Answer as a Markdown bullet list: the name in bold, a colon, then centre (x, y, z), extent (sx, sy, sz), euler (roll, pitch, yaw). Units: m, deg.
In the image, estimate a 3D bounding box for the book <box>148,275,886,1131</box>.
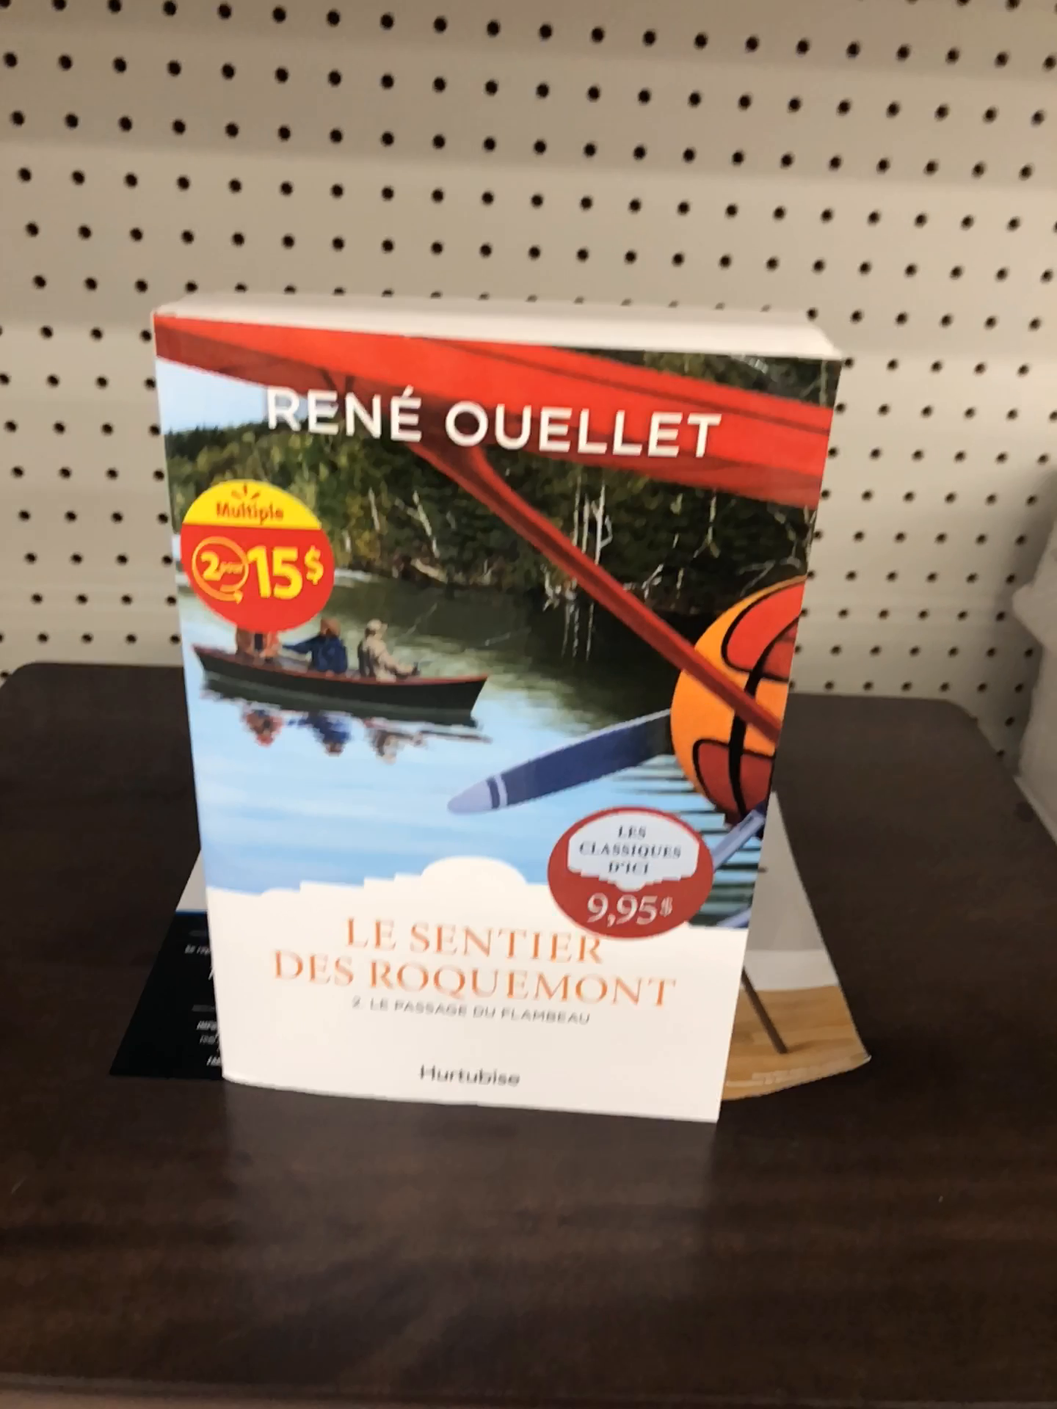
- **book**: centre (-0.008, 0.006, 0.318), extent (0.153, 0.215, 0.065), euler (4, 26, 1)
